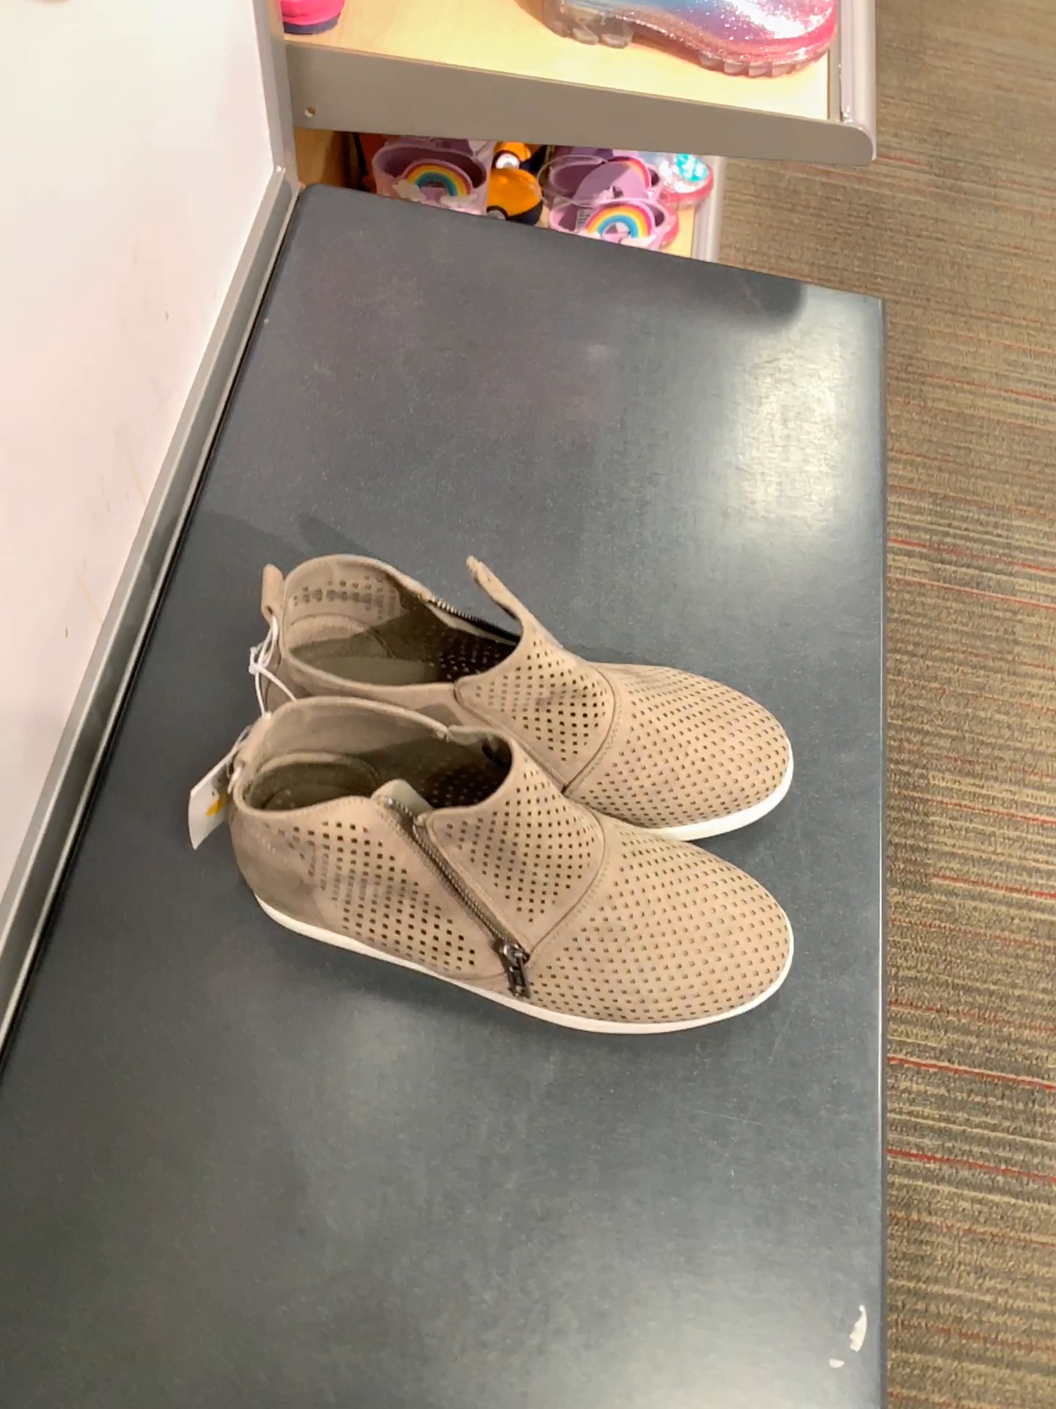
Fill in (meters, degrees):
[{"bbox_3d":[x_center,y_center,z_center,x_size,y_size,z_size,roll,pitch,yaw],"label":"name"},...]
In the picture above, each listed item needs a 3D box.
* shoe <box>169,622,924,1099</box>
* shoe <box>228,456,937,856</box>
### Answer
[{"bbox_3d":[0.007,0.072,0.441,0.250,0.140,0.100,14,64,0],"label":"shoe"},{"bbox_3d":[0.017,-0.012,0.463,0.250,0.140,0.100,4,64,-4],"label":"shoe"}]
